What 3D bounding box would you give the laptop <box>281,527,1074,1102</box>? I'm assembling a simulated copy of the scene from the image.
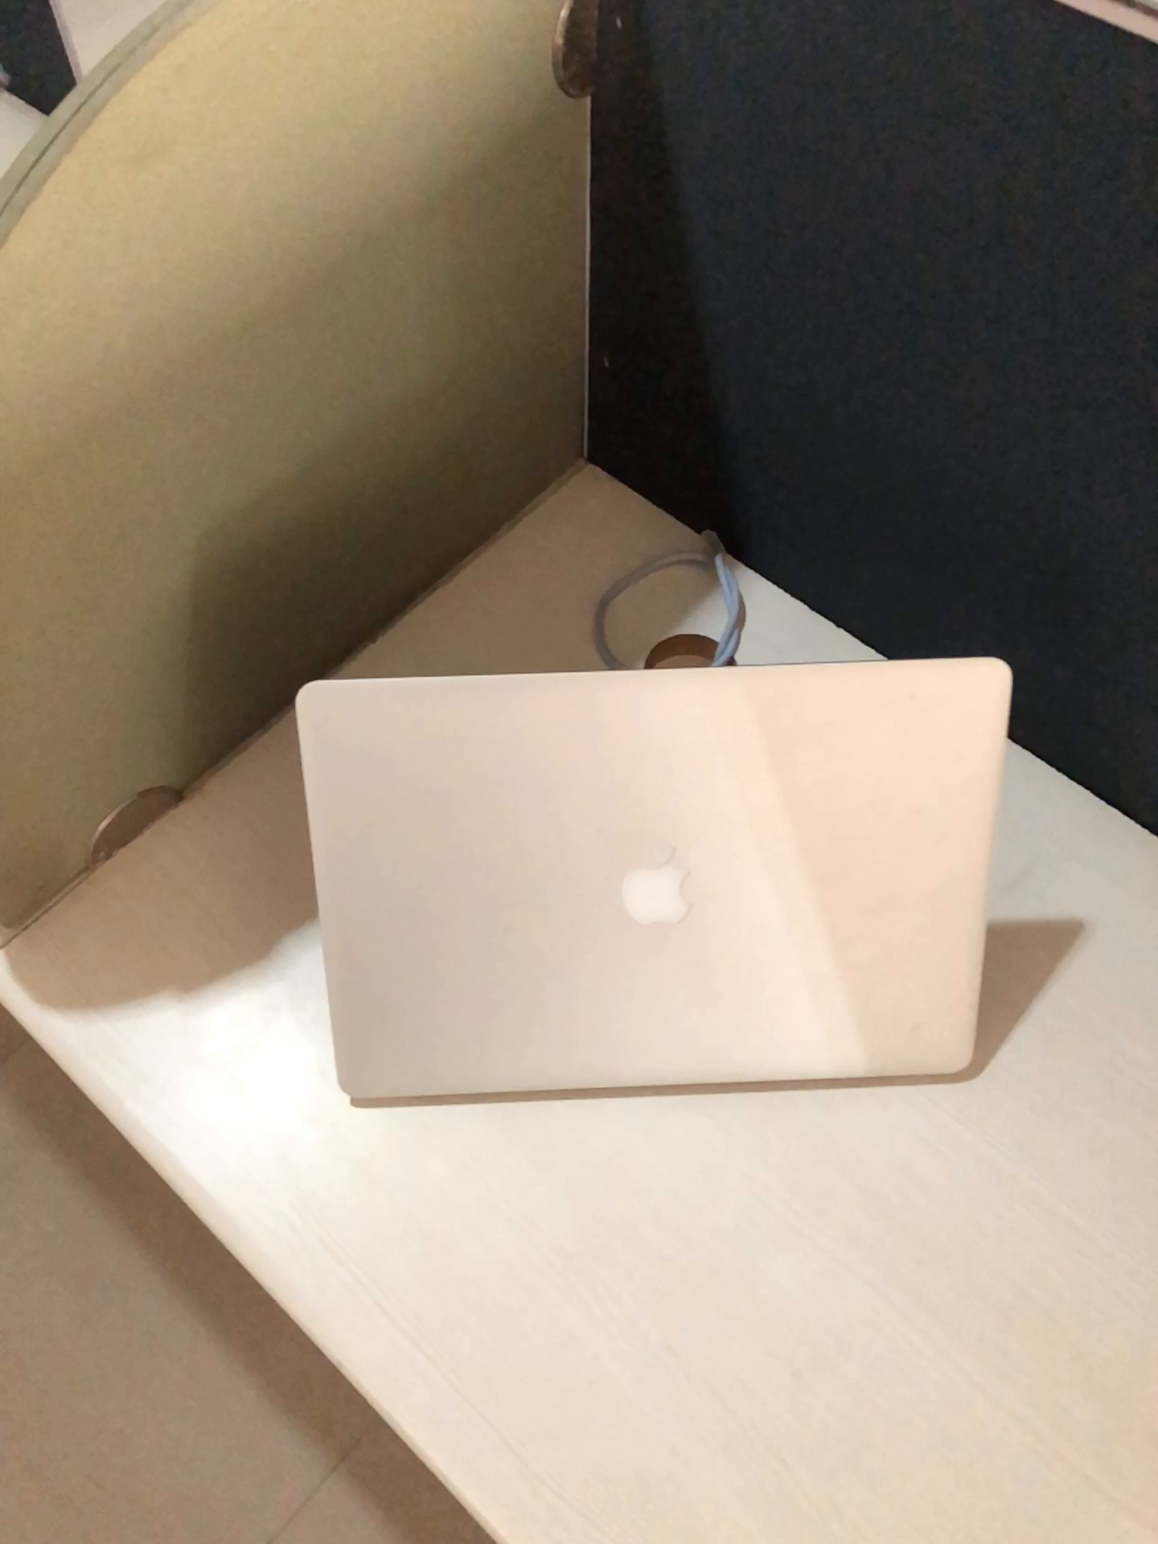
[{"bbox_3d":[0.038,0.027,0.692,0.343,0.198,0.235,-2,59,-2],"label":"laptop"}]
